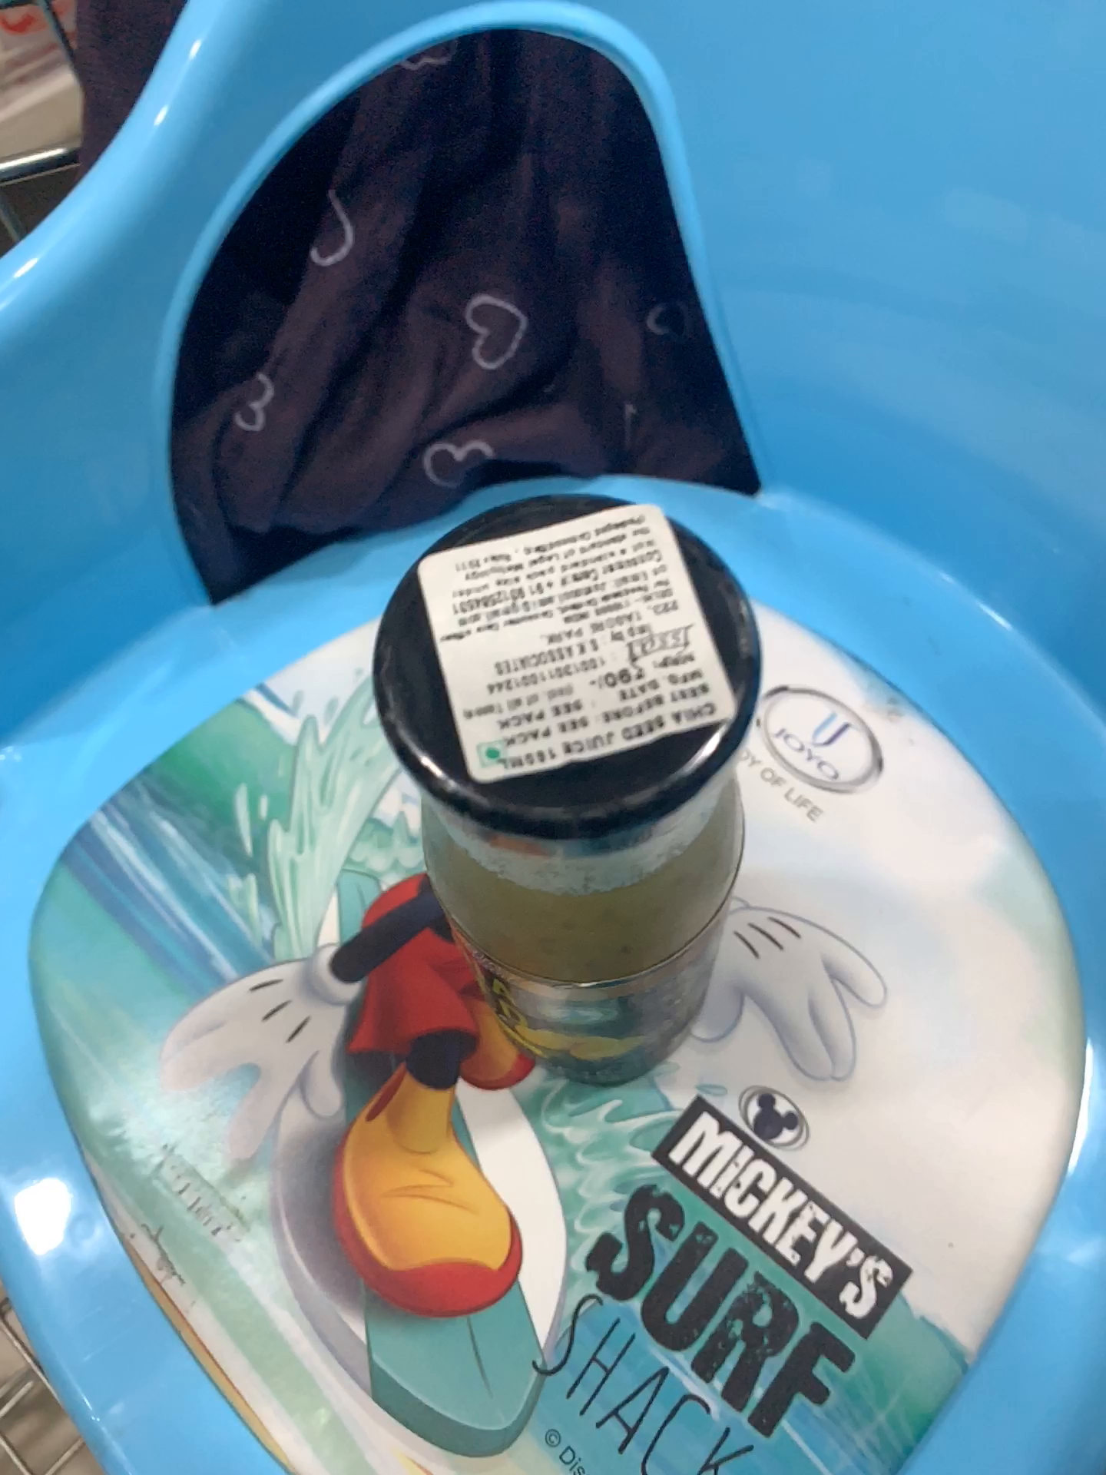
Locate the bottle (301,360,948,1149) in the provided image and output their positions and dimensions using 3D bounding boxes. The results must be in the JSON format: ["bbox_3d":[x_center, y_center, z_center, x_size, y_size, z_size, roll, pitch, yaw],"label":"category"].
[{"bbox_3d":[0.008,0.018,0.187,0.050,0.140,0.050,0,61,0],"label":"bottle"}]
